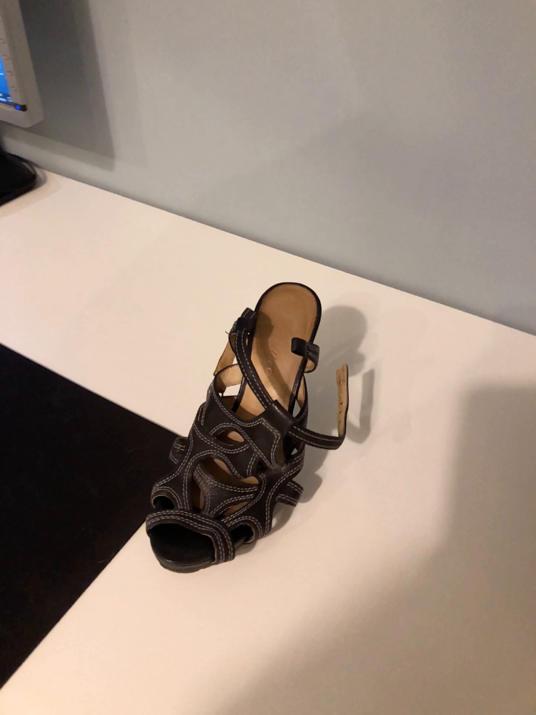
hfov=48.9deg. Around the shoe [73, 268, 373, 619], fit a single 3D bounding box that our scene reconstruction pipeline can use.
[{"bbox_3d":[-0.017,0.046,0.427,0.100,0.099,0.221,21,46,19],"label":"shoe"}]
